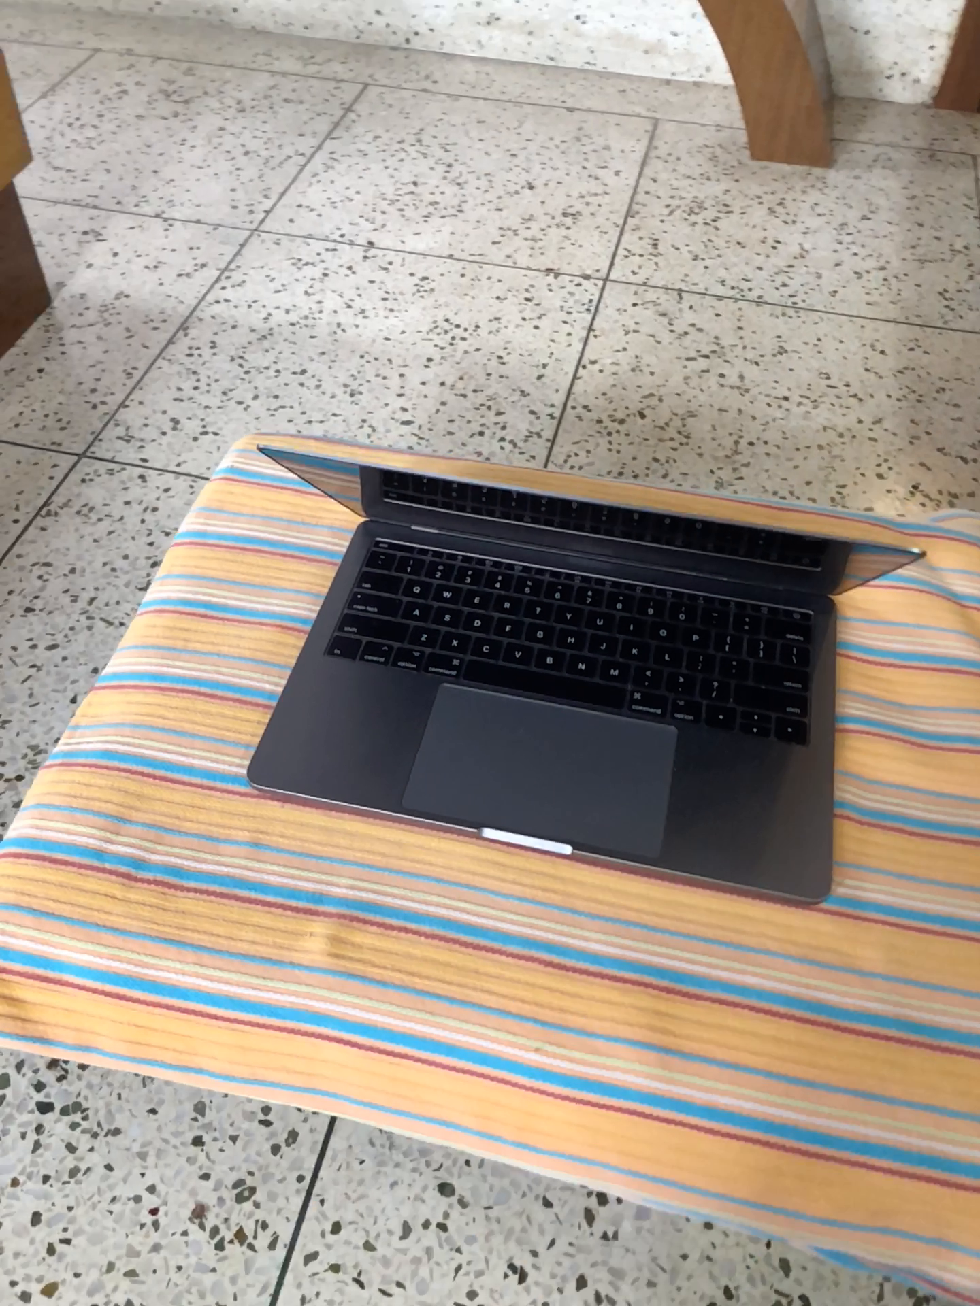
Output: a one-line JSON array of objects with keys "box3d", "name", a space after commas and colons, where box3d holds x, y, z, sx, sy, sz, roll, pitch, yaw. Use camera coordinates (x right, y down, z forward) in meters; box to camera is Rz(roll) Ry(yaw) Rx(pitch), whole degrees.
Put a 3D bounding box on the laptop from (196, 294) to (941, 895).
[{"box3d": [0.044, -0.037, 0.546, 0.294, 0.159, 0.204, 10, 50, 8], "name": "laptop"}]
